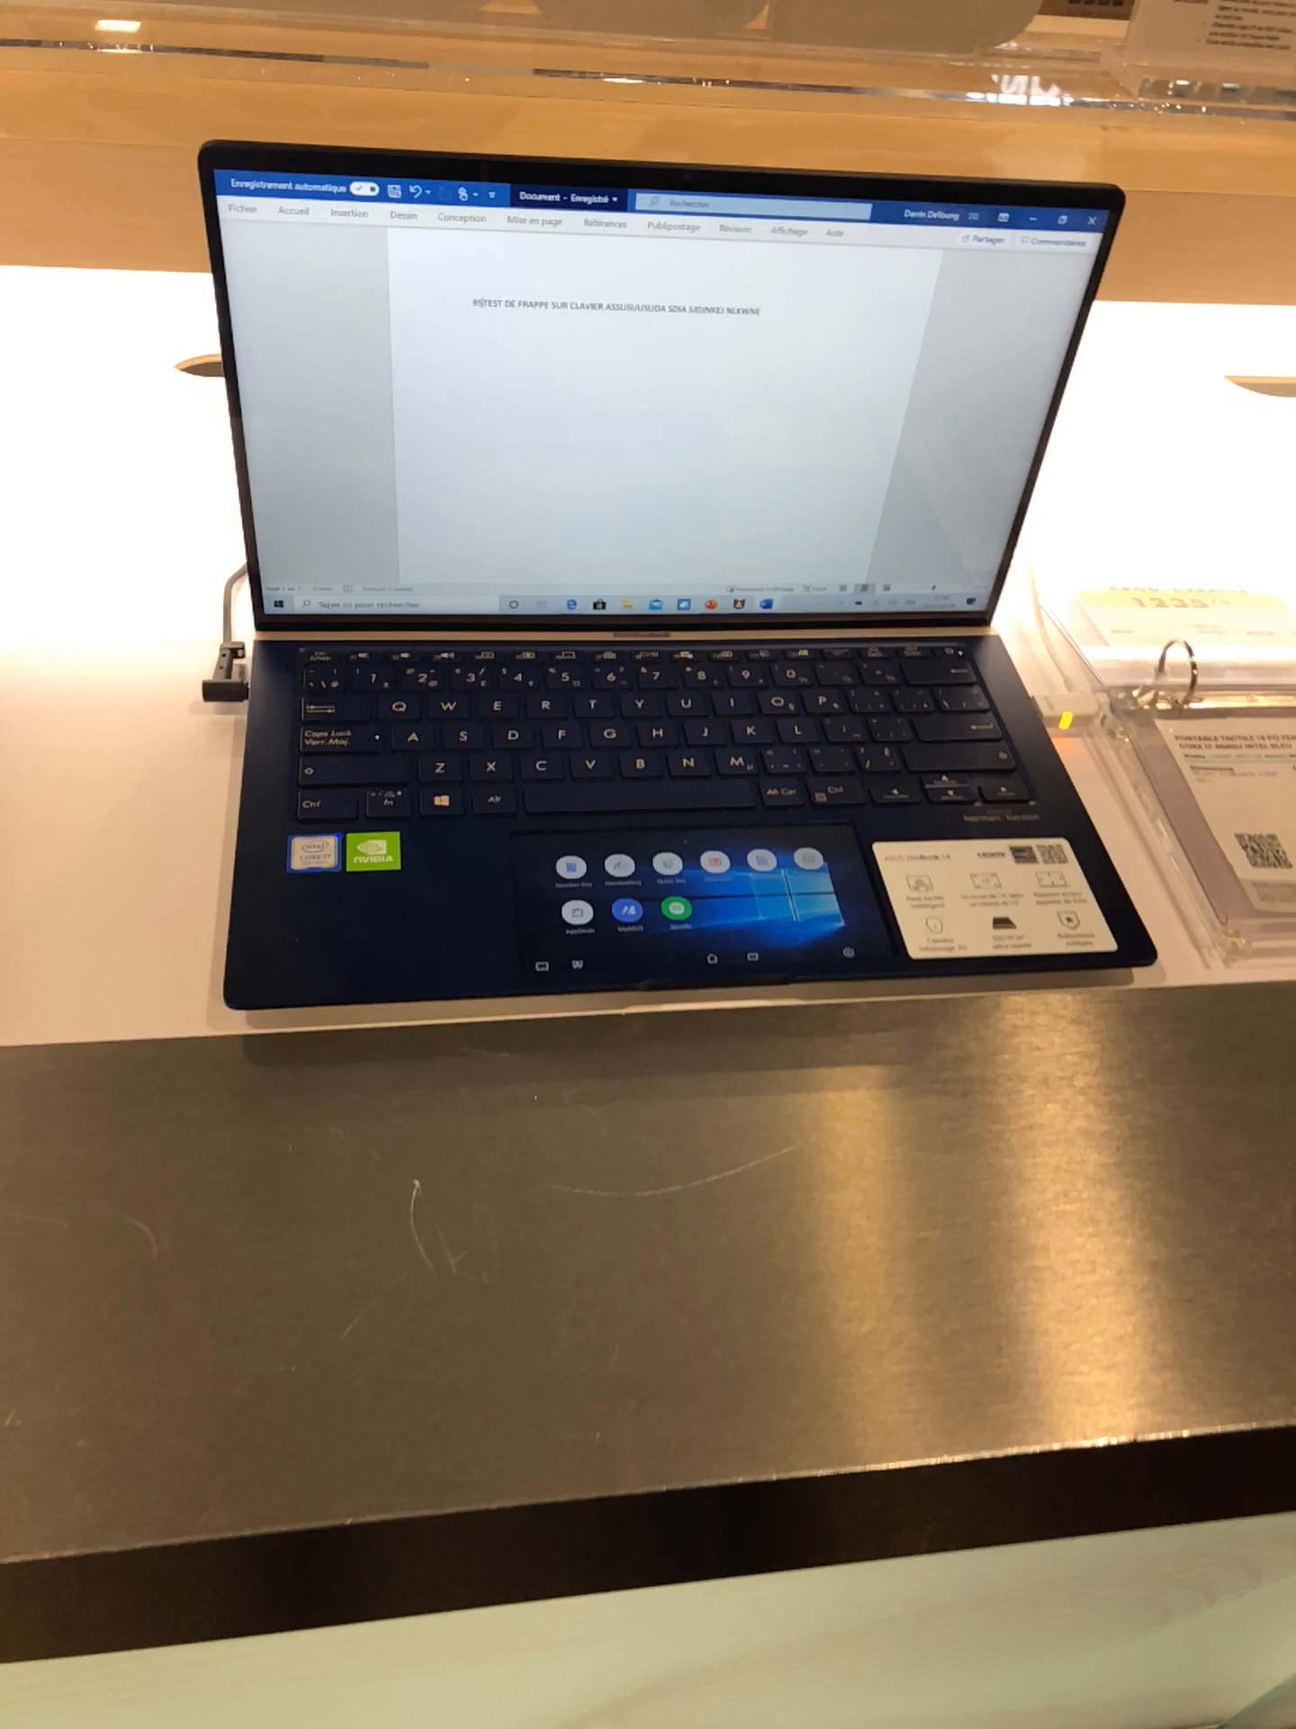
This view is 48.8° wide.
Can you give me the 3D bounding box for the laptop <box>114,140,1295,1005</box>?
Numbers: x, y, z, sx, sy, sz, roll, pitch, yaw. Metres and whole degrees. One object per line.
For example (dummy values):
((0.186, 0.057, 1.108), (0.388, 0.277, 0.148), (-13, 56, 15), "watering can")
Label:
((0.017, -0.099, 0.476), (0.317, 0.193, 0.200), (-2, 46, -9), "laptop")
